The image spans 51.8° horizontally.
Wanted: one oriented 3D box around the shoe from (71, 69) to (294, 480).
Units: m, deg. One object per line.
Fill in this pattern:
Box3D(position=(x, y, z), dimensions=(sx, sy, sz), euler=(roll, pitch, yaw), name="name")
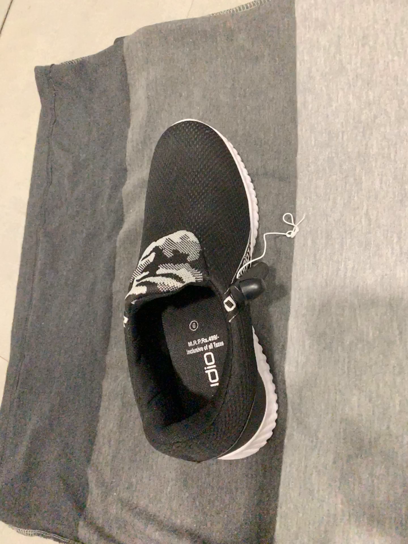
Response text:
Box3D(position=(-0.017, 0.006, 0.302), dimensions=(0.100, 0.100, 0.240), euler=(-13, 75, 24), name="shoe")
